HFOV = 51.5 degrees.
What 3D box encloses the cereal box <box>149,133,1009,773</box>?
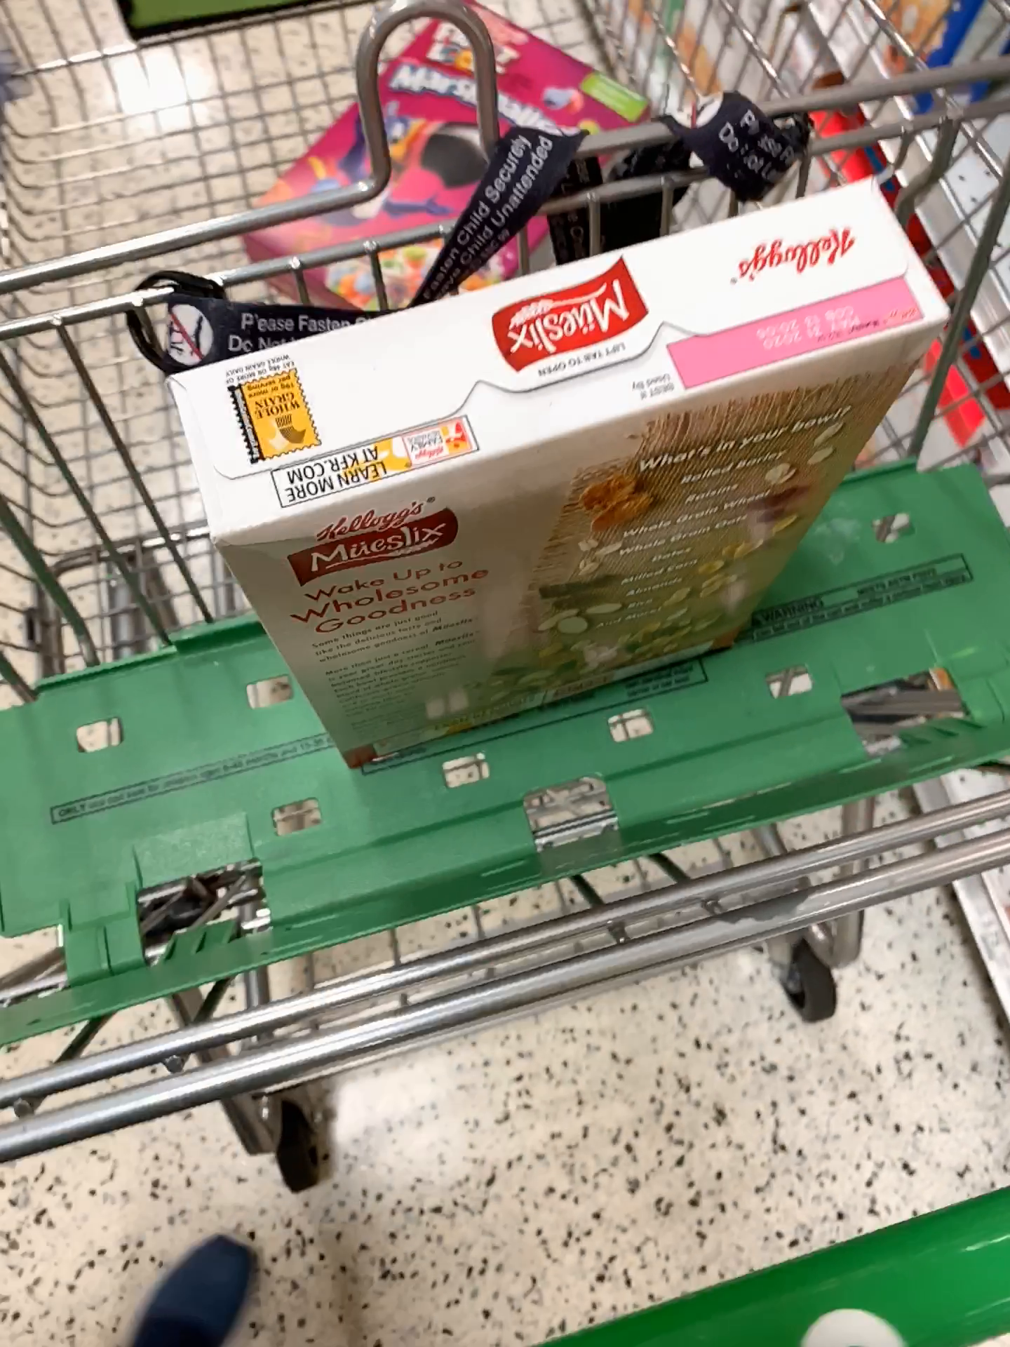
[{"bbox_3d":[0.017,-0.044,0.354,0.190,0.249,0.050,-17,74,-7],"label":"cereal box"}]
